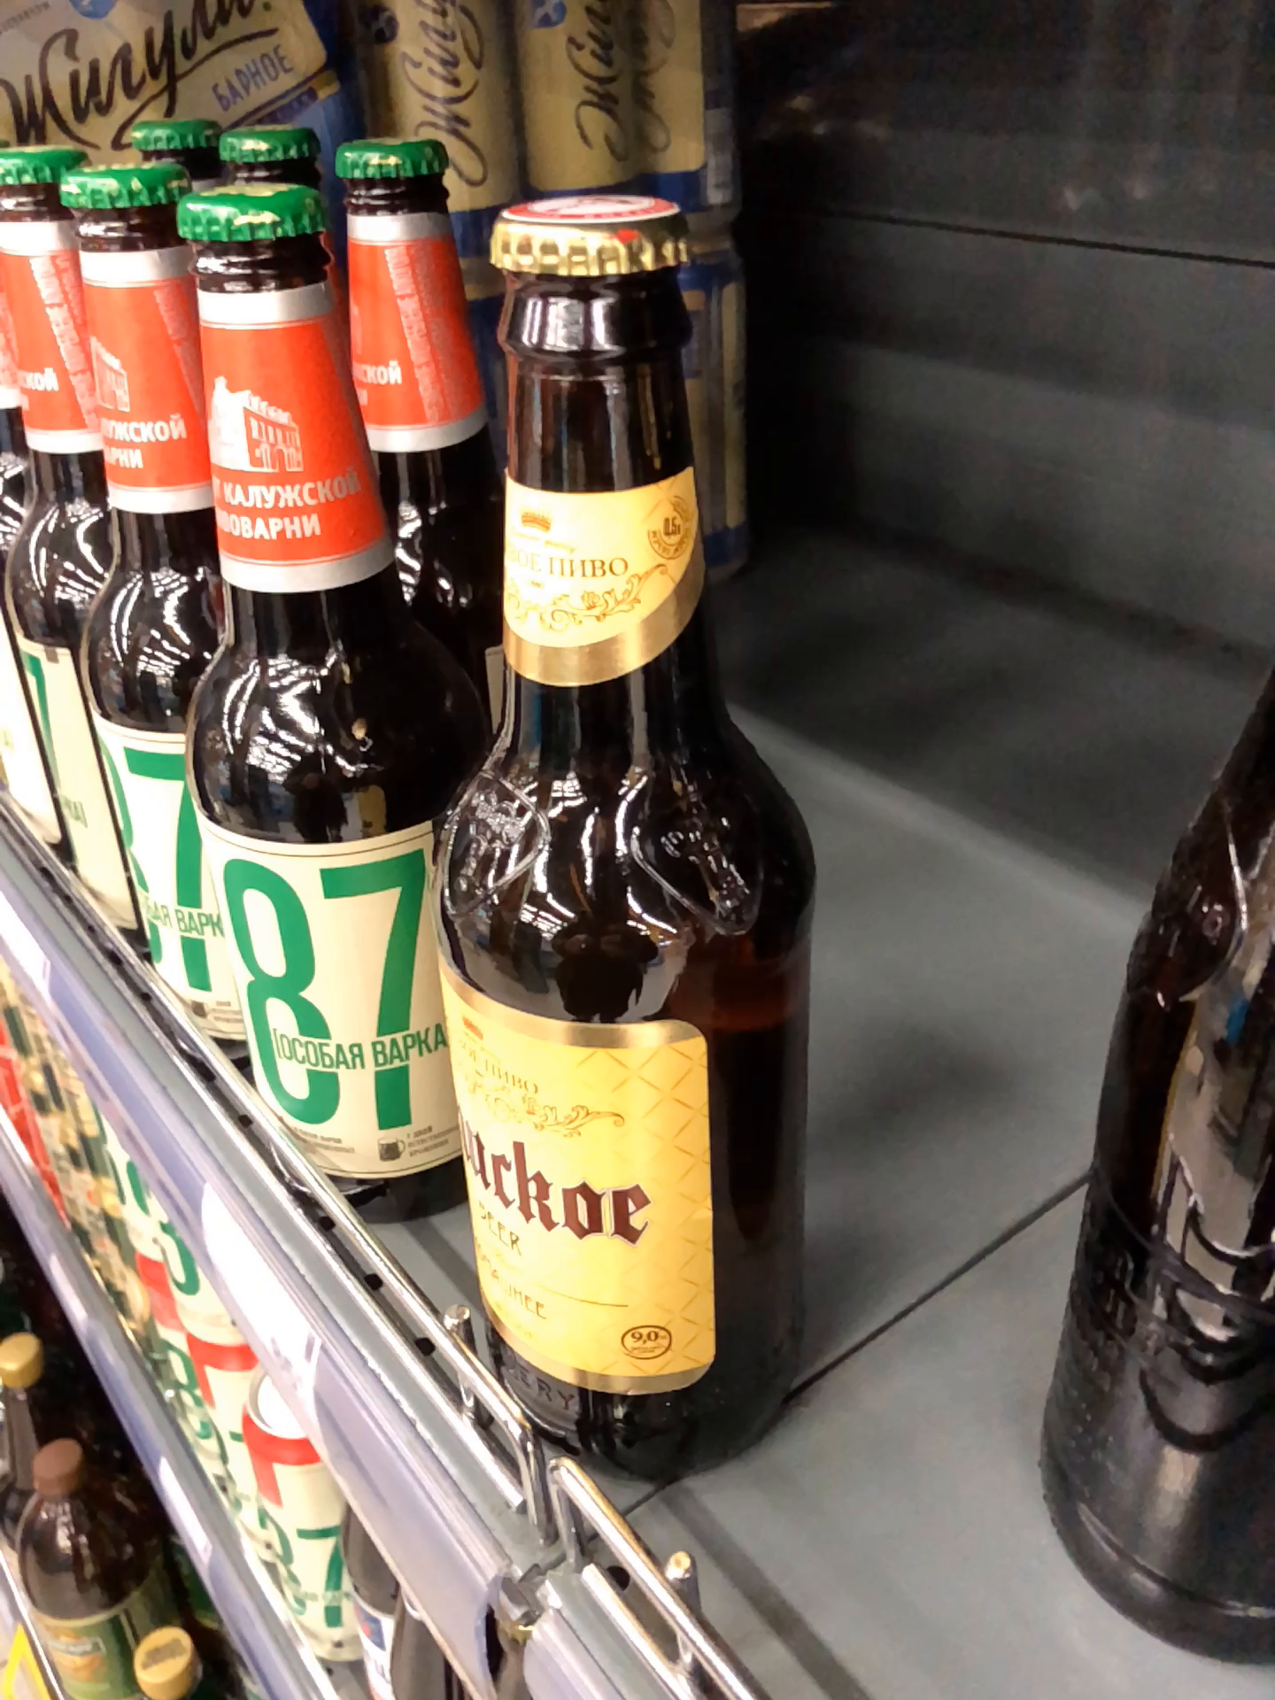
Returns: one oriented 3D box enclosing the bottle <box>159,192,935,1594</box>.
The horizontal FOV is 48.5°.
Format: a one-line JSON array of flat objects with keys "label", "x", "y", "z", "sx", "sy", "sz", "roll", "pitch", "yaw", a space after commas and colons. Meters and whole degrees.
[{"label": "bottle", "x": -0.009, "y": 0.014, "z": 0.265, "sx": 0.080, "sy": 0.239, "sz": 0.080, "roll": -2, "pitch": 31, "yaw": 1}]
